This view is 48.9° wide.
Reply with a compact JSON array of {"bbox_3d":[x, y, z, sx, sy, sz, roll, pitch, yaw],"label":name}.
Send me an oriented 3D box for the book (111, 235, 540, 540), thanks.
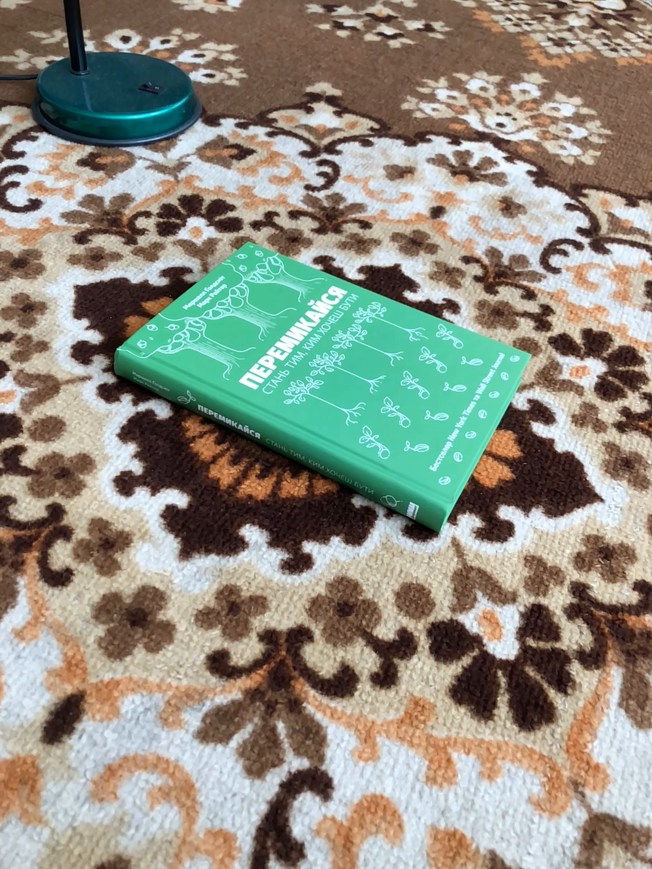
[{"bbox_3d":[0.004,-0.040,0.412,0.202,0.023,0.138,25,49,15],"label":"book"}]
